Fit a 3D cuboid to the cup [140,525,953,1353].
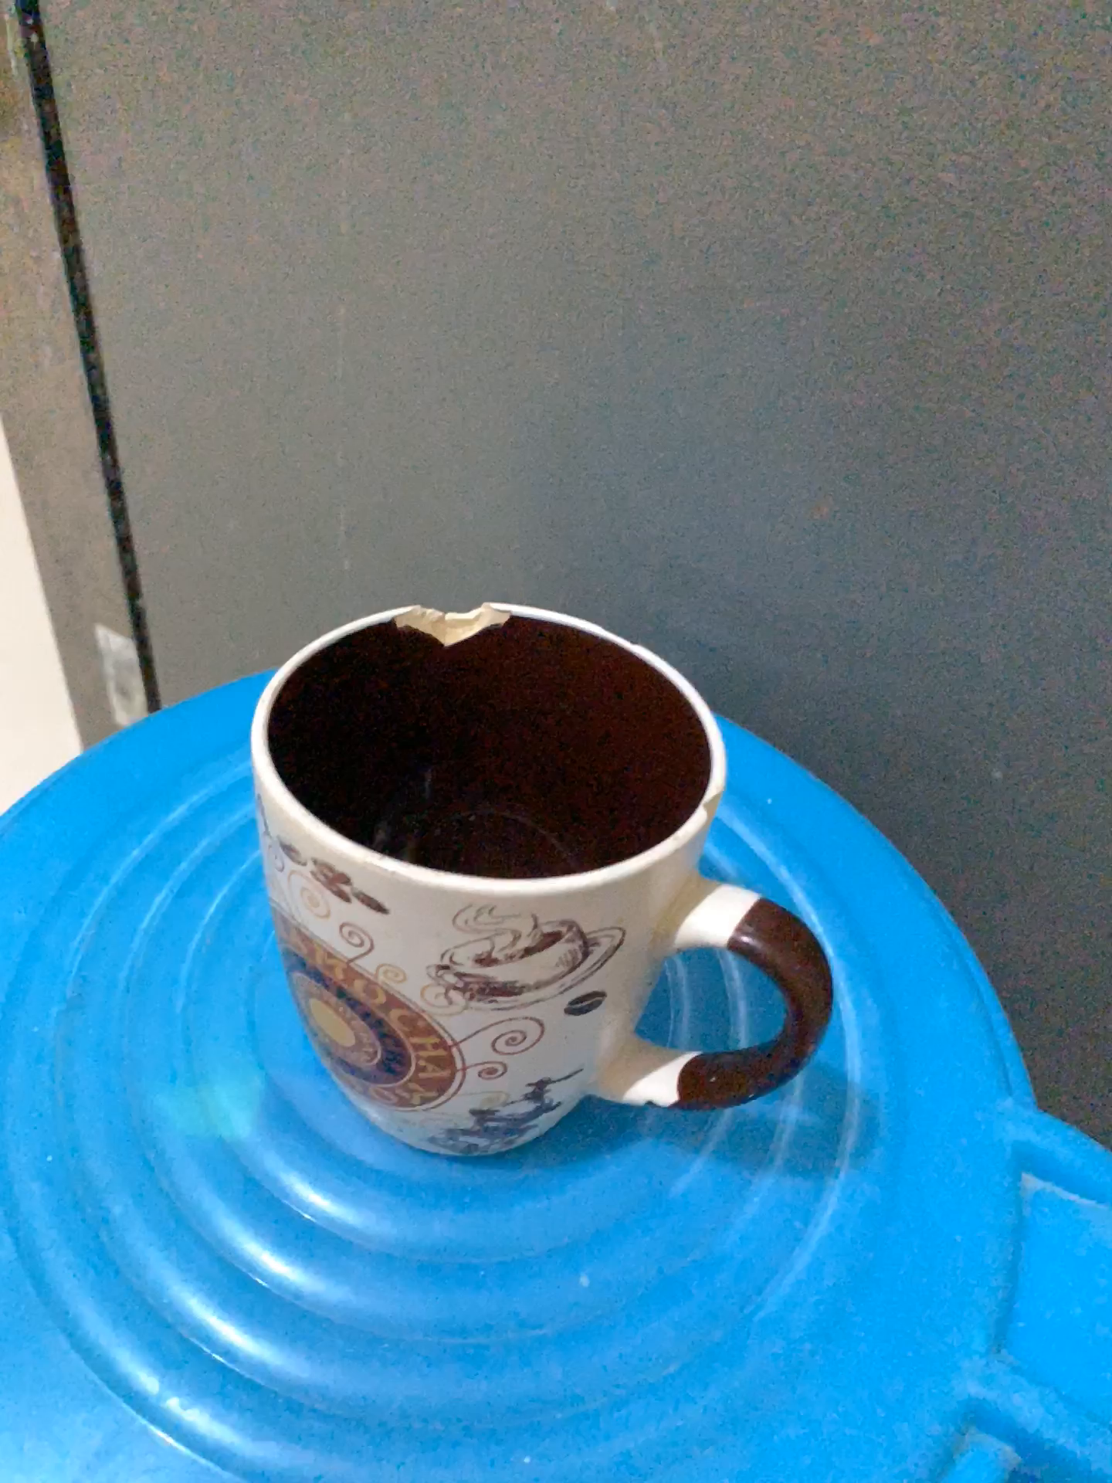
[{"bbox_3d":[-0.004,0.028,0.217,0.110,0.079,0.080,28,43,23],"label":"cup"}]
